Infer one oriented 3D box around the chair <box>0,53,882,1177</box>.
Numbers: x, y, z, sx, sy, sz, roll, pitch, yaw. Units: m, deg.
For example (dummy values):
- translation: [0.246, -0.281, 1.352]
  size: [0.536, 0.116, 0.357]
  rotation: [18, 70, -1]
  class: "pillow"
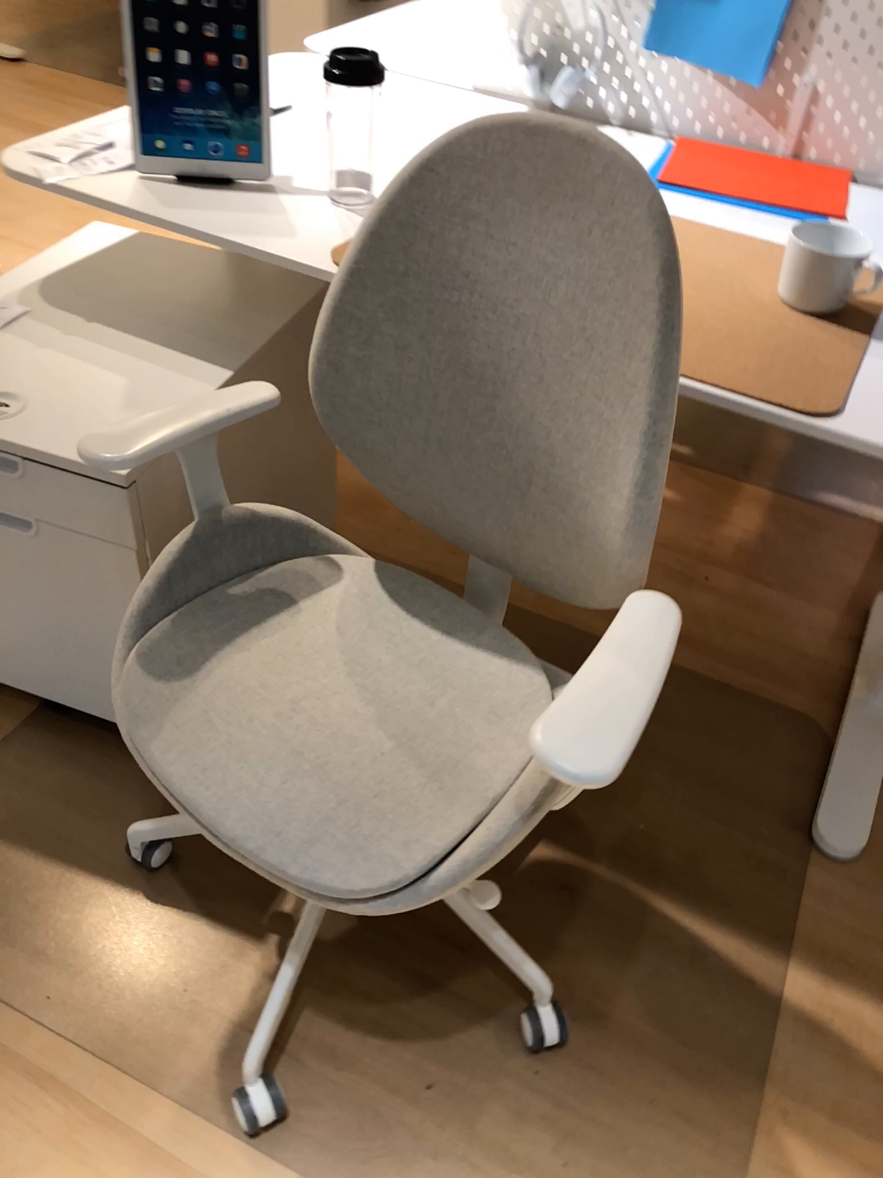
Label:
- translation: [-0.035, 0.059, 1.035]
  size: [0.652, 0.914, 0.703]
  rotation: [31, 48, 25]
  class: "chair"
